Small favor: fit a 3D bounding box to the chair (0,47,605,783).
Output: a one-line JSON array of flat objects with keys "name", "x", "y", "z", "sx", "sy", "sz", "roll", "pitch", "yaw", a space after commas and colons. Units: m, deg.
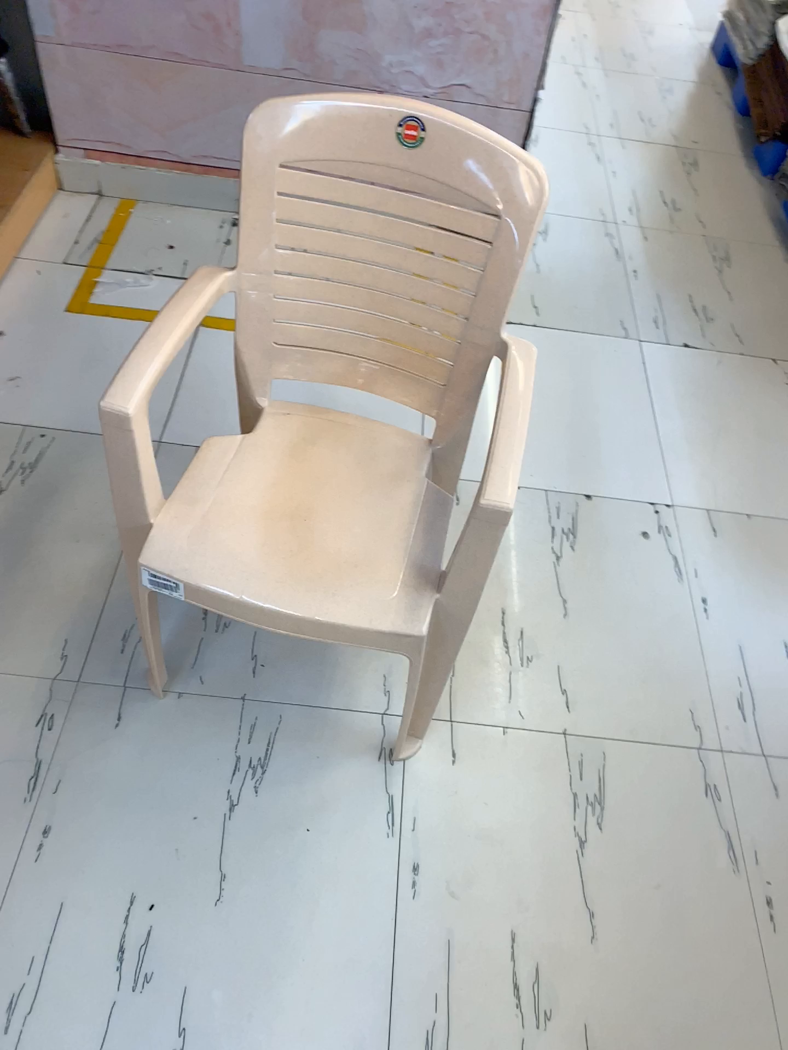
[{"name": "chair", "x": -0.100, "y": -0.121, "z": 1.204, "sx": 0.570, "sy": 0.774, "sz": 0.625, "roll": 13, "pitch": 52, "yaw": 3}]
